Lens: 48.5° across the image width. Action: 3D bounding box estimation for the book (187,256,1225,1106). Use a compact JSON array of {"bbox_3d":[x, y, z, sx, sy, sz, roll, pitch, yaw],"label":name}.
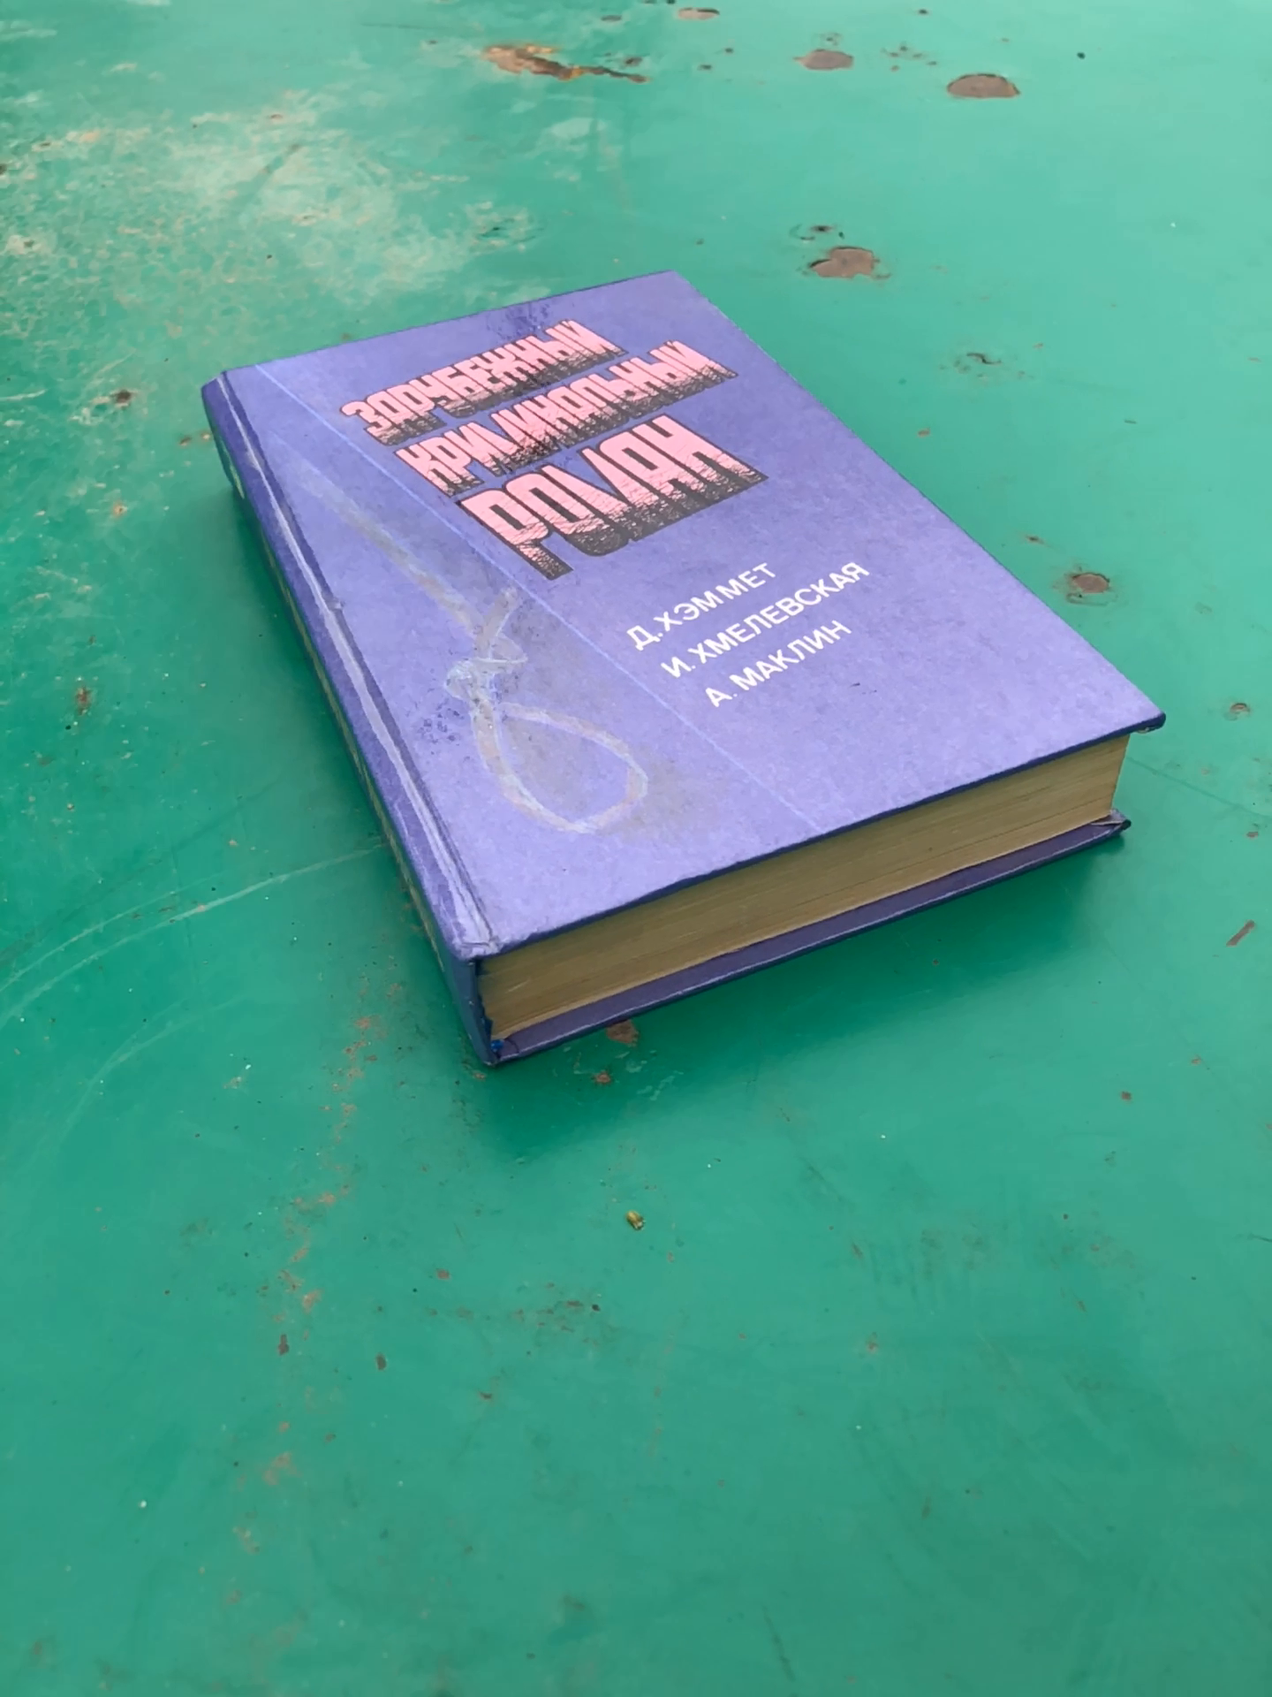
[{"bbox_3d":[-0.003,-0.058,0.302,0.137,0.030,0.209,-18,48,-15],"label":"book"}]
